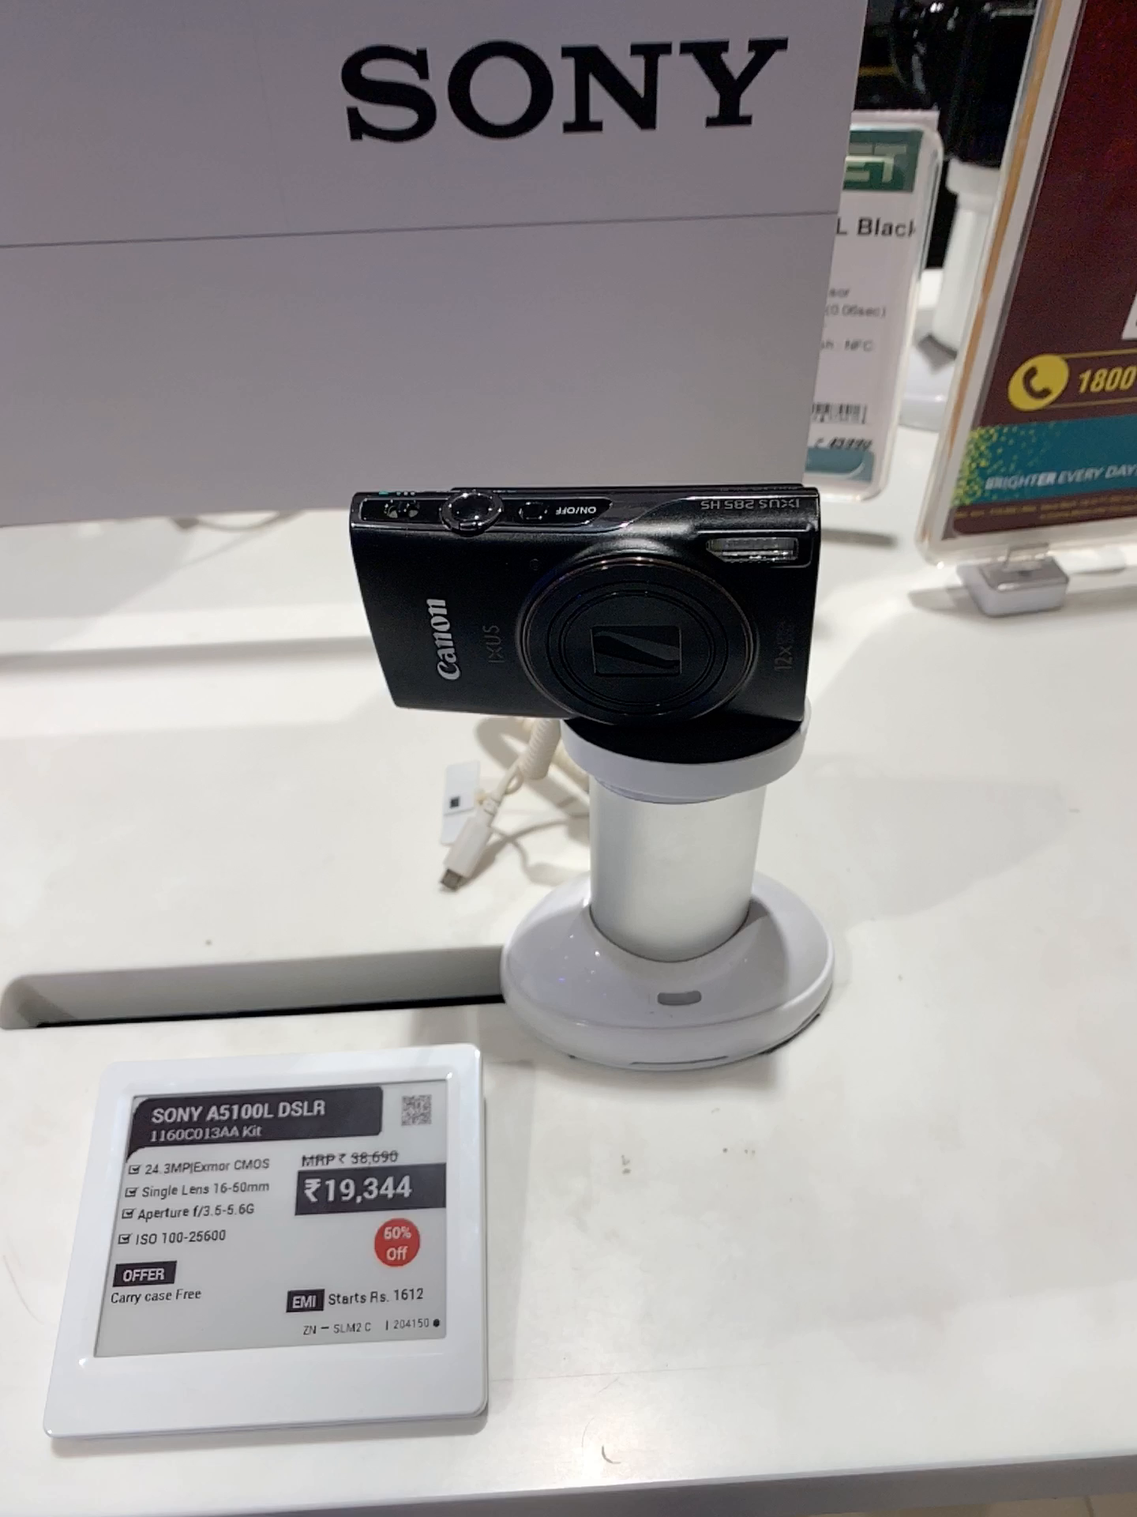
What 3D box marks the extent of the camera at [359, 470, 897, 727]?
[{"bbox_3d":[0.011,-0.032,0.244,0.100,0.050,0.020,1,47,3],"label":"camera"}]
